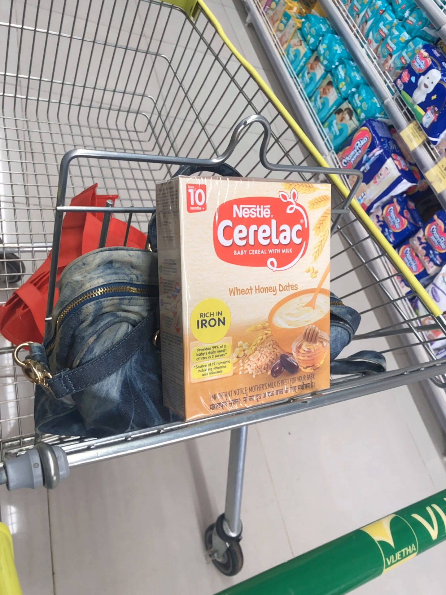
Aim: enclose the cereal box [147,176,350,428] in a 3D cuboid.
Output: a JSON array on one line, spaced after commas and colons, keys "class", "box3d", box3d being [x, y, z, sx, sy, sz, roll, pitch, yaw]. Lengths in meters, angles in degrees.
[{"class": "cereal box", "box3d": [0.029, -0.004, 0.439, 0.171, 0.060, 0.190, -6, 97, -31]}]
